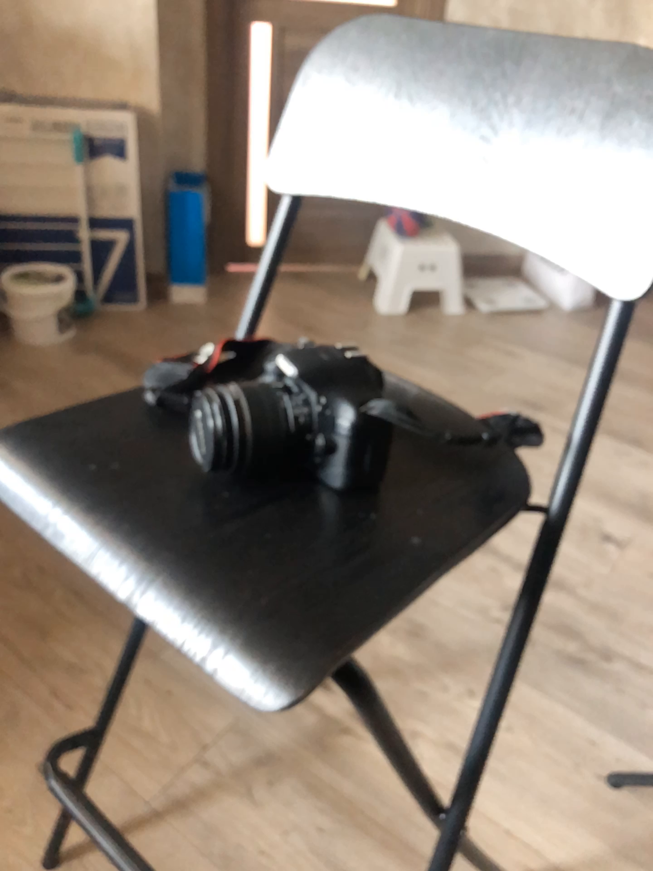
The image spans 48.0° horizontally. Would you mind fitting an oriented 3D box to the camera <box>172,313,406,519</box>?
[{"bbox_3d":[-0.034,-0.022,0.574,0.140,0.092,0.121,-11,35,-23],"label":"camera"}]
